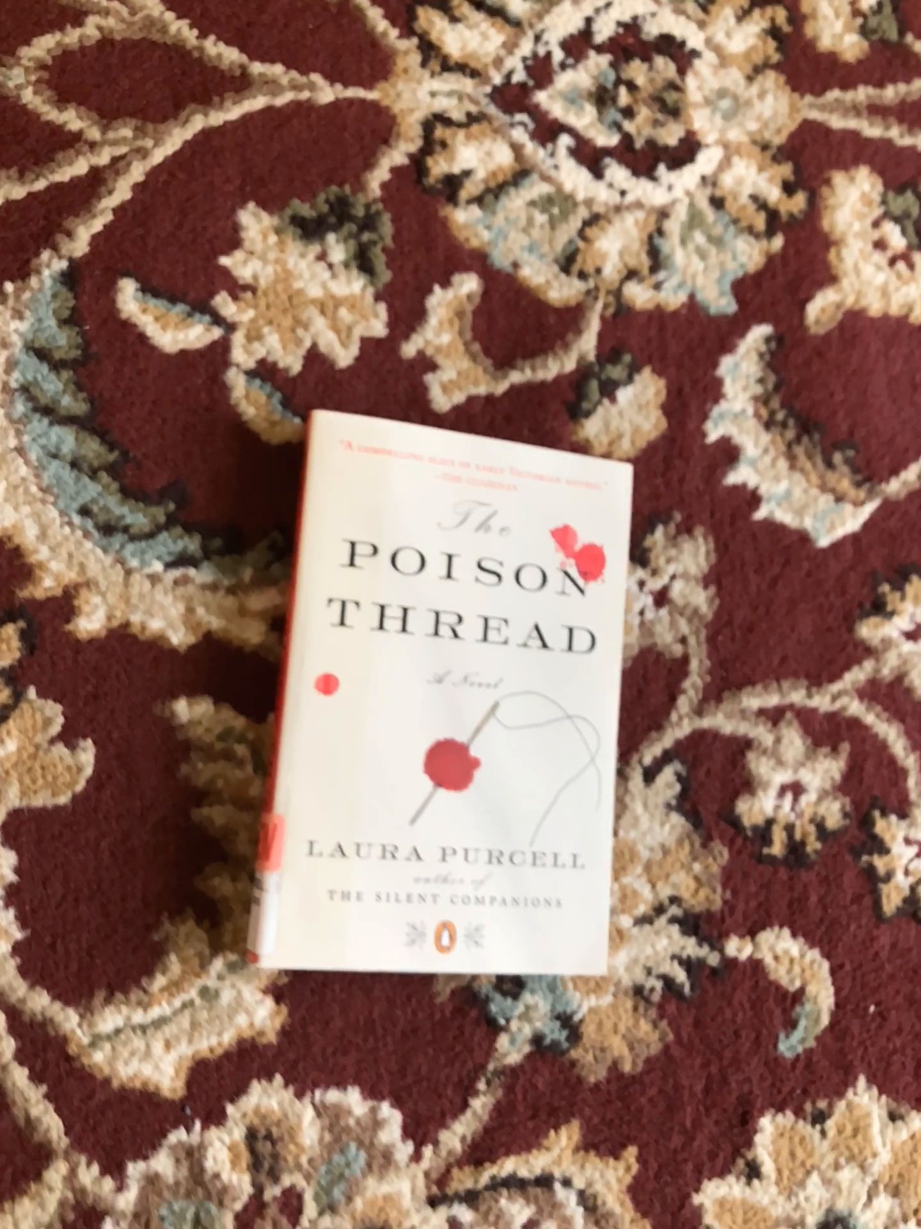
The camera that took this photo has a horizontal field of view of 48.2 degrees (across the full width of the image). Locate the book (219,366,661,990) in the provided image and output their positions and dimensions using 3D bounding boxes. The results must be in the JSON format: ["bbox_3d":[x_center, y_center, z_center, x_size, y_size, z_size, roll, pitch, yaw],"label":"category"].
[{"bbox_3d":[-0.003,0.025,0.364,0.140,0.030,0.200,6,81,-16],"label":"book"}]
